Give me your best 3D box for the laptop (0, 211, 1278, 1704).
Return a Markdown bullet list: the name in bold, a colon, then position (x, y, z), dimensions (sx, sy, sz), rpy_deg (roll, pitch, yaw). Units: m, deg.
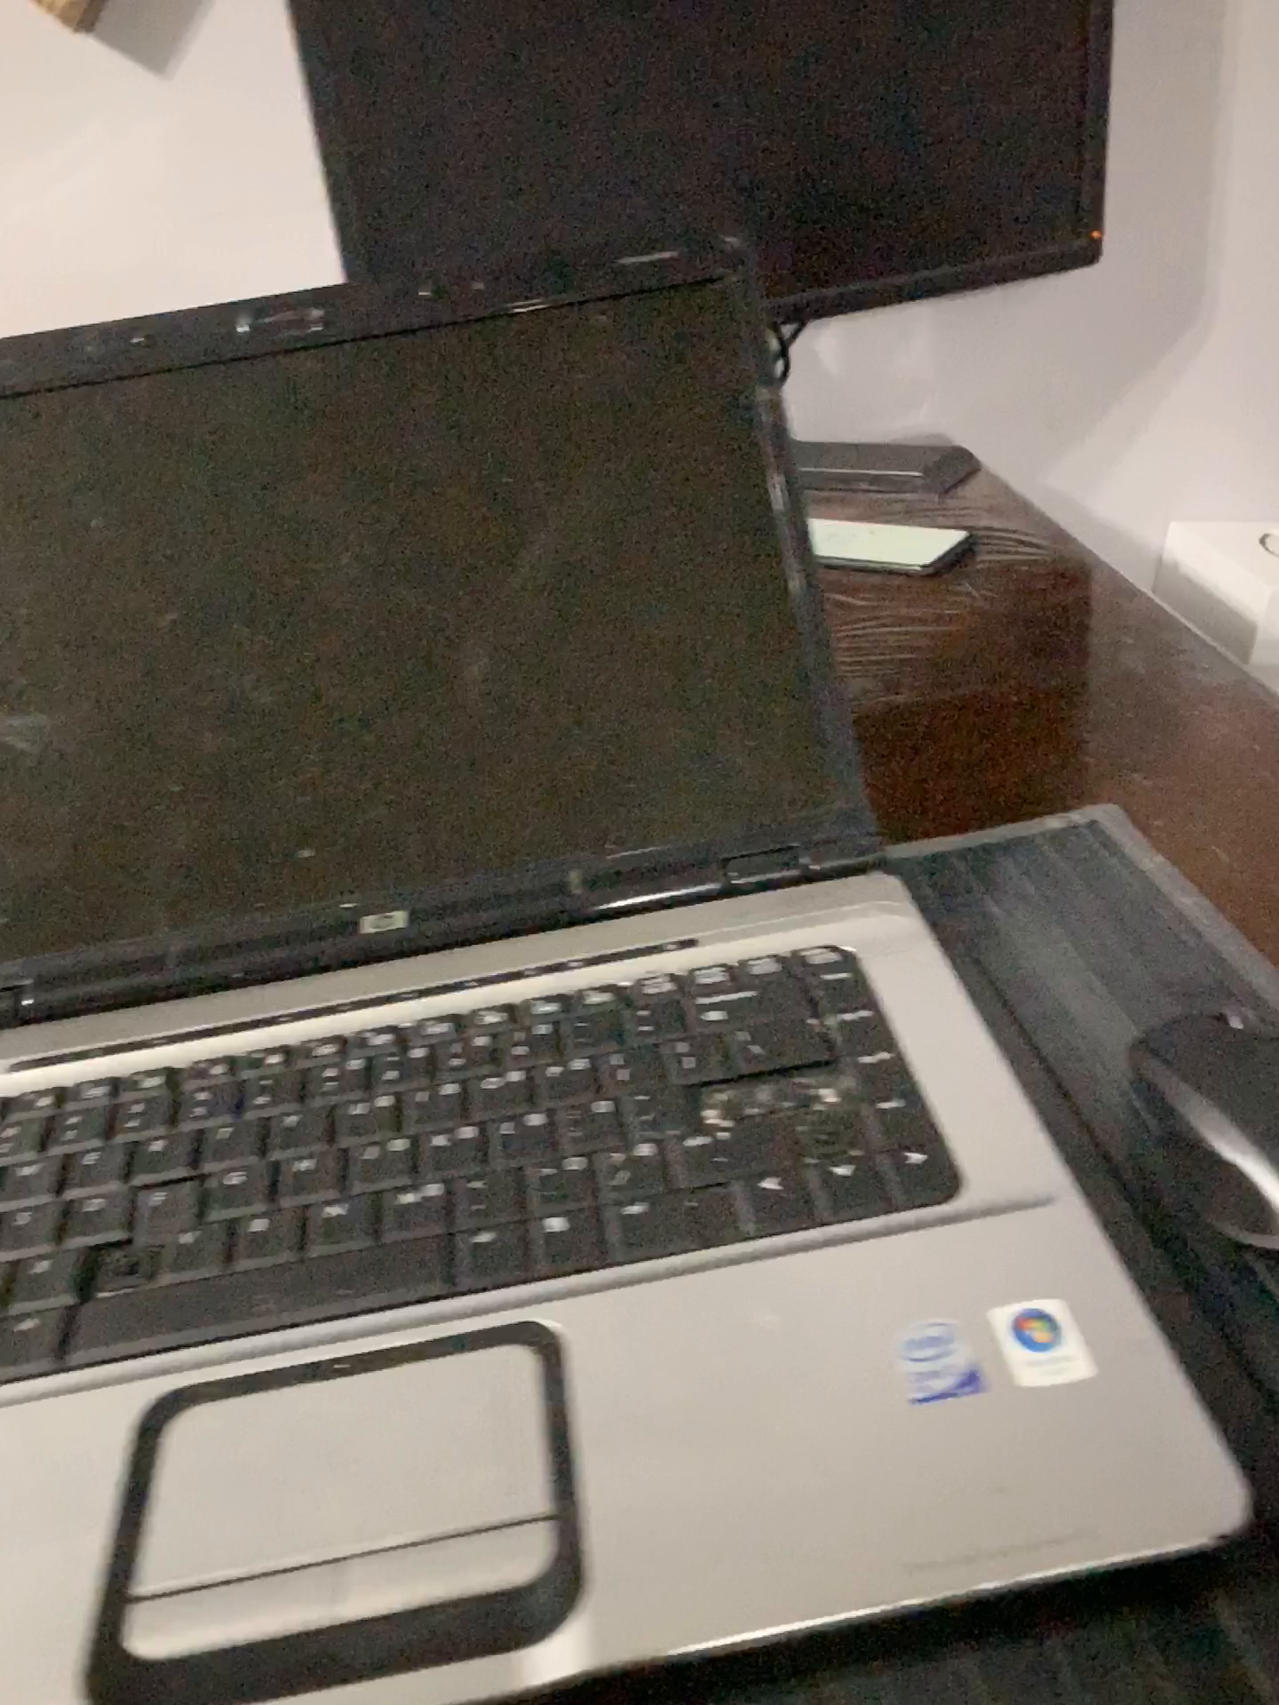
- **laptop**: position (-0.090, -0.030, 0.363), dimensions (0.349, 0.186, 0.405), rpy_deg (-10, 31, -3)
